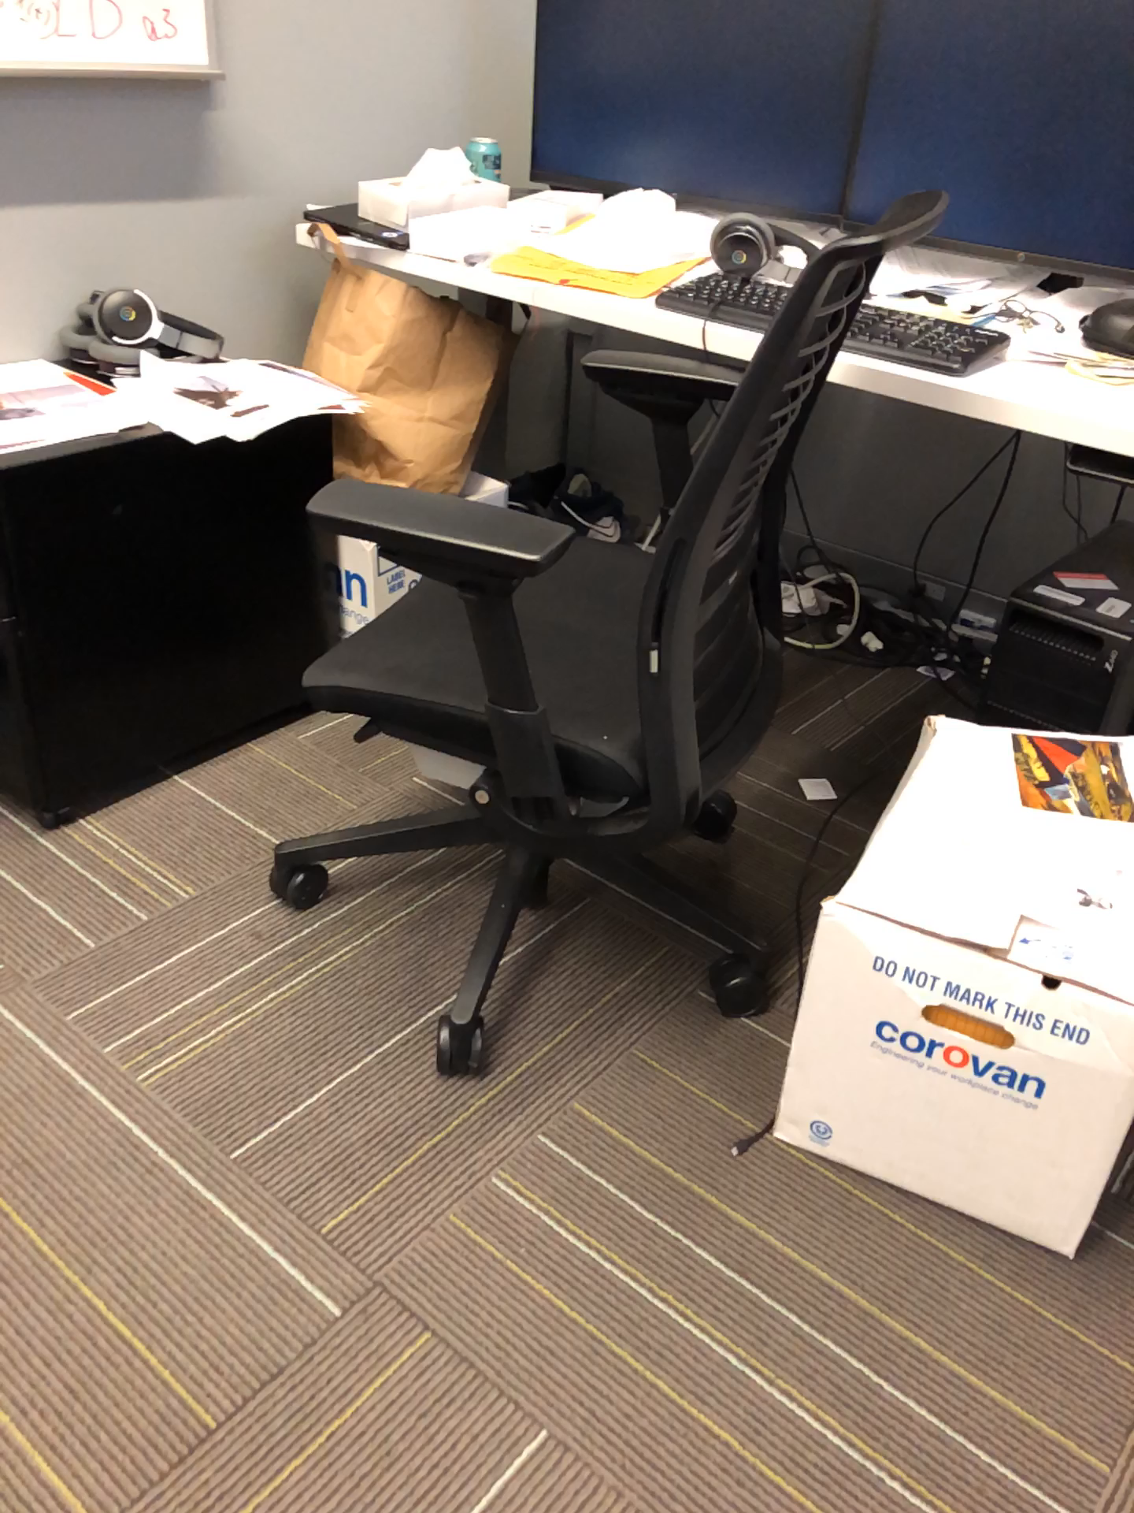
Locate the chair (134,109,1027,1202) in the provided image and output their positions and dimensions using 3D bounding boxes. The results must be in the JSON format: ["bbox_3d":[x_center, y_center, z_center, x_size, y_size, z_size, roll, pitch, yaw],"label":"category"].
[{"bbox_3d":[0.059,-0.196,1.537,0.700,0.994,0.784,15,32,16],"label":"chair"}]
